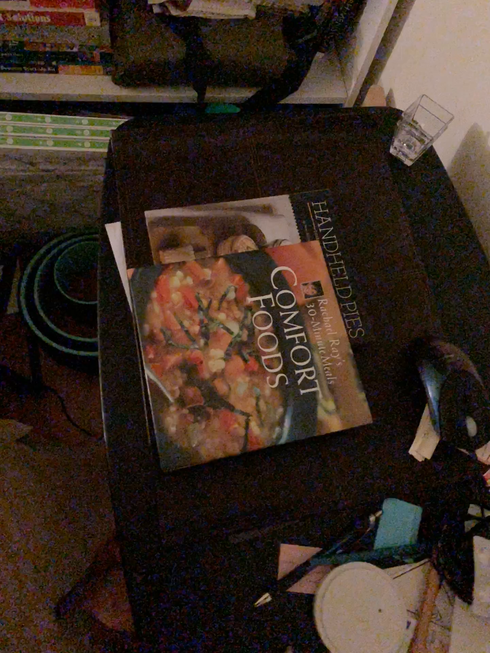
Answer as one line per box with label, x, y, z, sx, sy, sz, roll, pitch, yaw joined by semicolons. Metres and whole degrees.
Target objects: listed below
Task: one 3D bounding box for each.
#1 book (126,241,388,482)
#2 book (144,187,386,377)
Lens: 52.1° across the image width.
book;0.007;0.024;0.485;0.210;0.020;0.200;-10;72;-11
book;0.017;-0.055;0.531;0.220;0.020;0.180;-9;72;-11
